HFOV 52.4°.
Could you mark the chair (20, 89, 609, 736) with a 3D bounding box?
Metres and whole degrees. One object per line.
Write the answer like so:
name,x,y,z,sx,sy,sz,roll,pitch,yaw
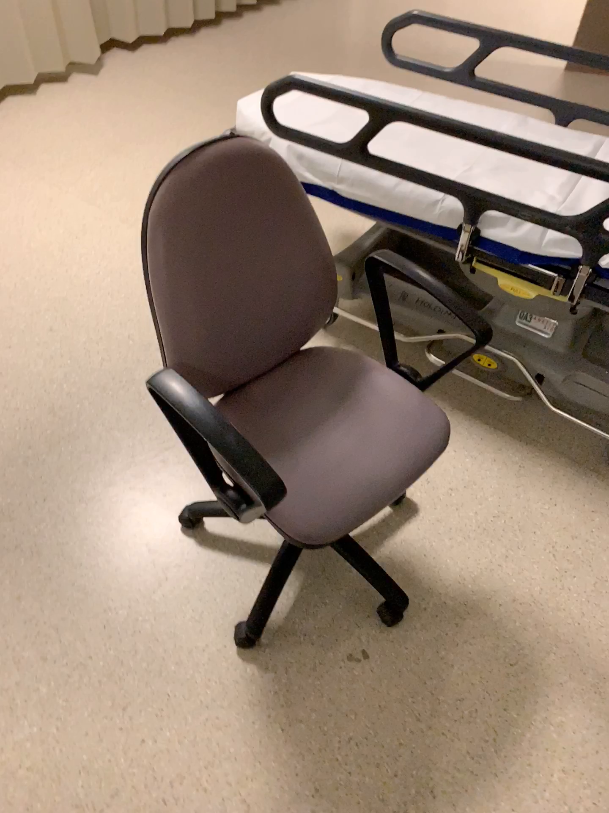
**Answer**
chair,0.019,0.012,1.256,0.653,0.882,0.713,-31,57,-28
